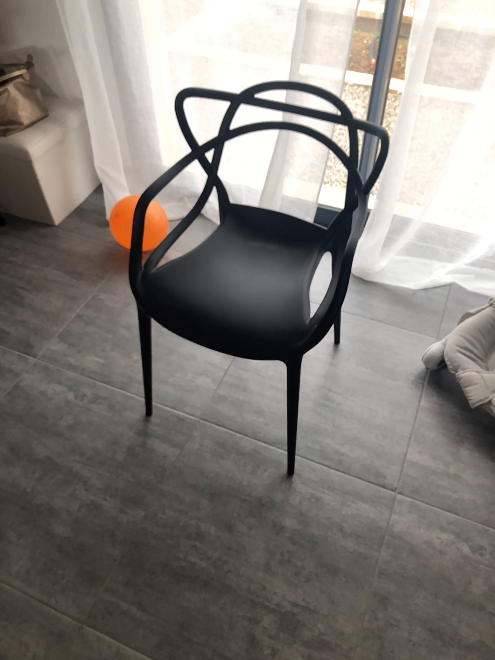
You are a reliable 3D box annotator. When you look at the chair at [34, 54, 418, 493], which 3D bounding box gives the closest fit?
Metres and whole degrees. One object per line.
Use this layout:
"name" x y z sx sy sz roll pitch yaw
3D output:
"chair" -0.005 -0.128 1.381 0.562 0.795 0.589 19 51 17
